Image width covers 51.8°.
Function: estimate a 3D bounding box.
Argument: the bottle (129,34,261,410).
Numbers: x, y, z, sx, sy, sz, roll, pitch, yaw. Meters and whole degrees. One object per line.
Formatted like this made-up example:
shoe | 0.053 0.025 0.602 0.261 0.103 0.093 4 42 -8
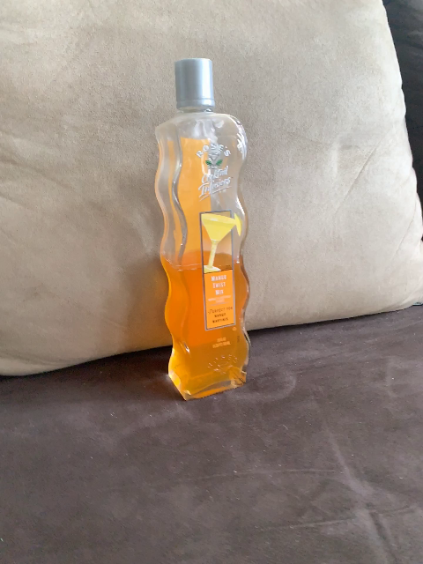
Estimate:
bottle | -0.012 -0.046 0.397 0.080 0.299 0.080 -2 15 1
